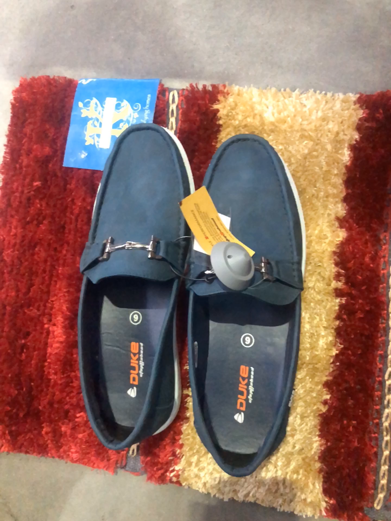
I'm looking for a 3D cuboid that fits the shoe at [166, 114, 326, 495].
[{"bbox_3d":[0.045,0.029,0.373,0.100,0.090,0.280,4,84,9],"label":"shoe"}]

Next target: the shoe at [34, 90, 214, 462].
[{"bbox_3d":[-0.052,0.008,0.377,0.110,0.090,0.280,3,84,9],"label":"shoe"}]
